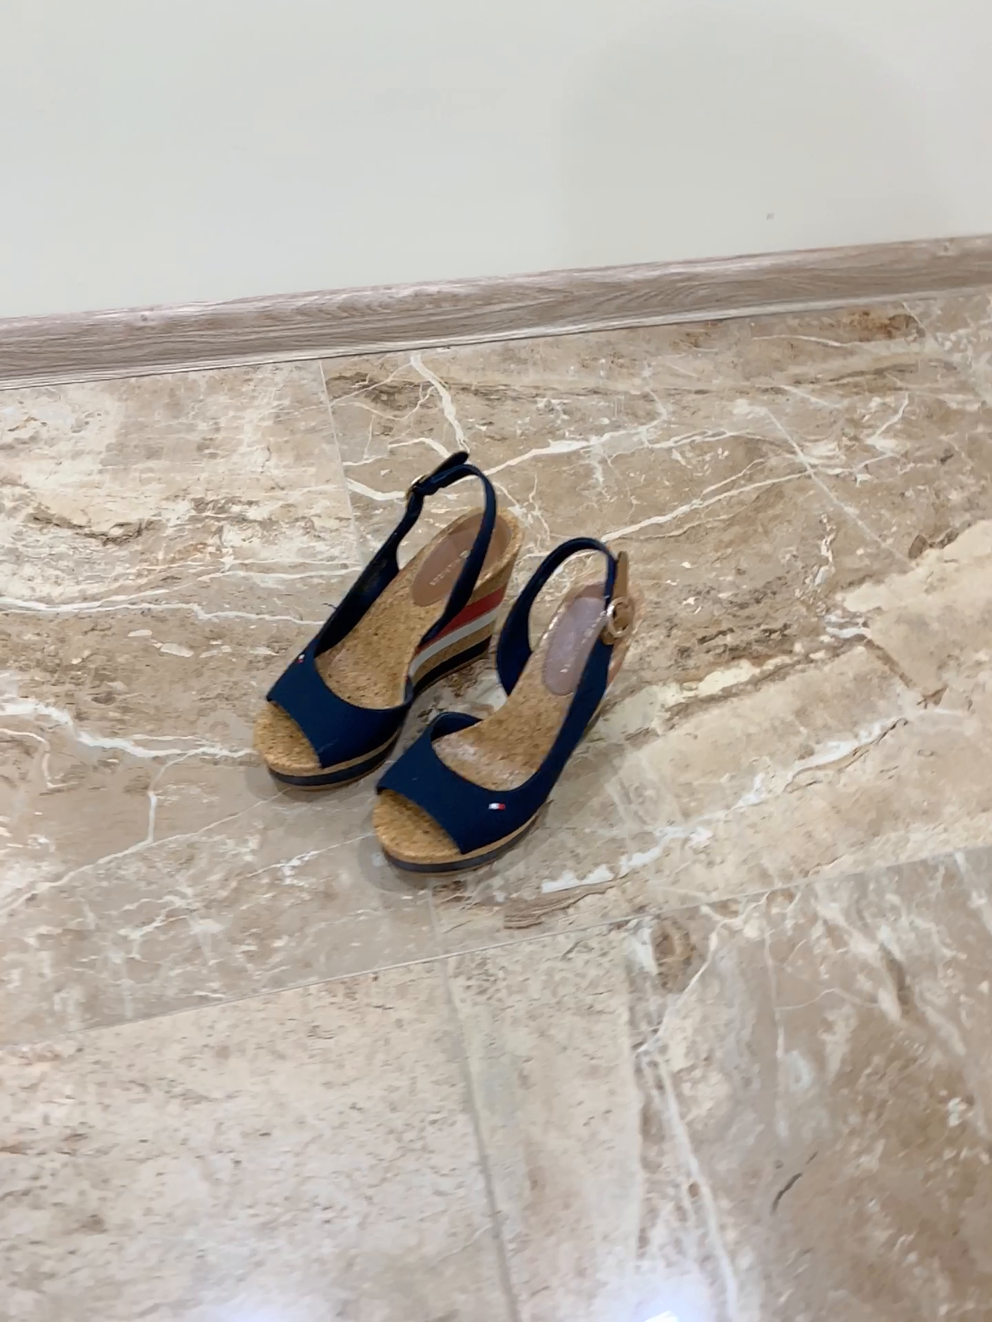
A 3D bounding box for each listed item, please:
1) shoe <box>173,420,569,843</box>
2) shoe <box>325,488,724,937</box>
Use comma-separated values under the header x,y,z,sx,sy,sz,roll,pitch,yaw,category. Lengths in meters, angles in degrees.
x,y,z,sx,sy,sz,roll,pitch,yaw,category
-0.066,-0.020,0.612,0.090,0.145,0.210,37,58,23,shoe
0.018,0.027,0.582,0.090,0.145,0.210,37,58,23,shoe
